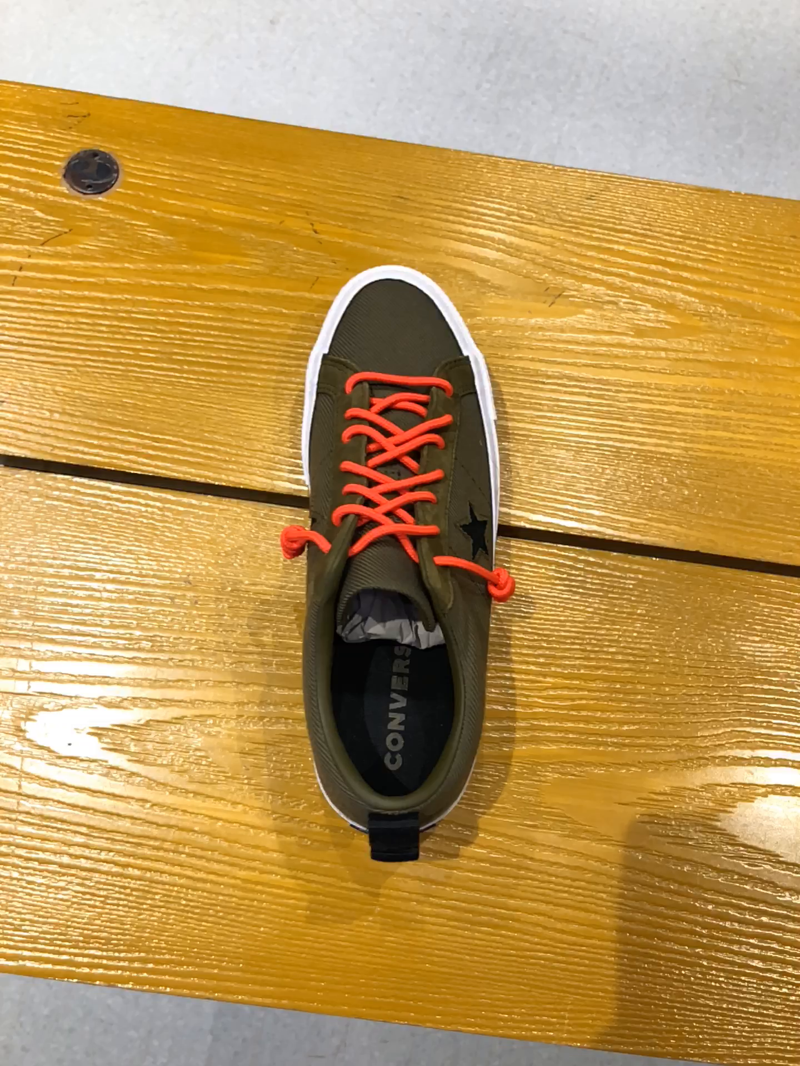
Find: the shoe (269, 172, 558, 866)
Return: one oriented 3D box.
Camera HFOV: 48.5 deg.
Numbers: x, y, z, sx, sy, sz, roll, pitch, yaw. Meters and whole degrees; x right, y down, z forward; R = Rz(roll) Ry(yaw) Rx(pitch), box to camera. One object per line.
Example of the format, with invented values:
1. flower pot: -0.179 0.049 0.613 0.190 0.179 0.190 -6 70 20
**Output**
1. shoe: 0.003 -0.008 0.407 0.105 0.097 0.293 1 74 -3
